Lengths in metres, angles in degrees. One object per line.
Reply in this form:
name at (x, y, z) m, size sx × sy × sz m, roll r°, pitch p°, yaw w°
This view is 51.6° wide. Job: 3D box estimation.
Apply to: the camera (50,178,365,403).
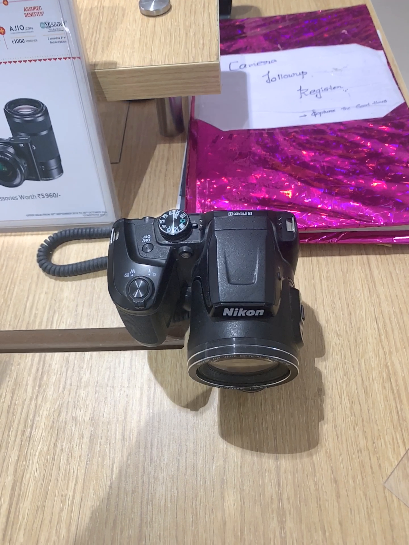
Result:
camera at (0.003, 0.015, 0.236) m, size 0.130 × 0.090 × 0.090 m, roll -1°, pitch 57°, yaw 3°
